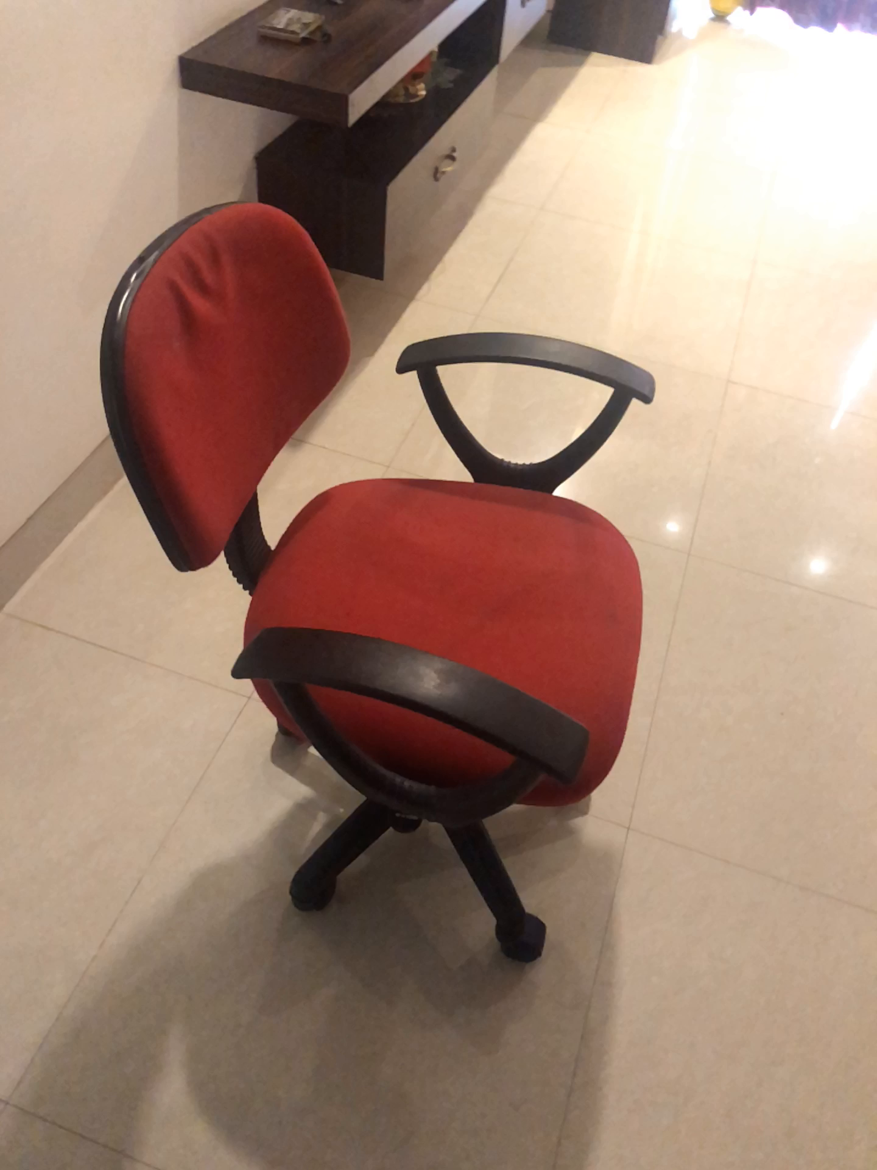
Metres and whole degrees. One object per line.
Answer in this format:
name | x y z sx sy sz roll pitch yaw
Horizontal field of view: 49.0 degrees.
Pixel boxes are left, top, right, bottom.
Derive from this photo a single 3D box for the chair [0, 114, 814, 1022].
chair | -0.017 -0.001 1.085 0.600 0.725 0.544 15 47 8
